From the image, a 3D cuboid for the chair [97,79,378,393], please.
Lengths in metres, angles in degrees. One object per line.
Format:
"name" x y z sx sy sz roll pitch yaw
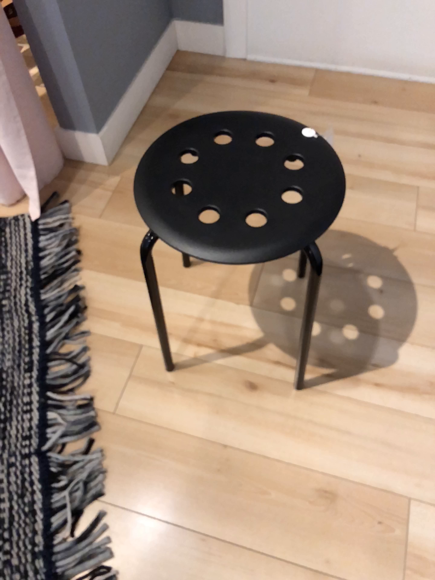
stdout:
"chair" 0.056 -0.087 0.904 0.370 0.399 0.381 6 57 7
